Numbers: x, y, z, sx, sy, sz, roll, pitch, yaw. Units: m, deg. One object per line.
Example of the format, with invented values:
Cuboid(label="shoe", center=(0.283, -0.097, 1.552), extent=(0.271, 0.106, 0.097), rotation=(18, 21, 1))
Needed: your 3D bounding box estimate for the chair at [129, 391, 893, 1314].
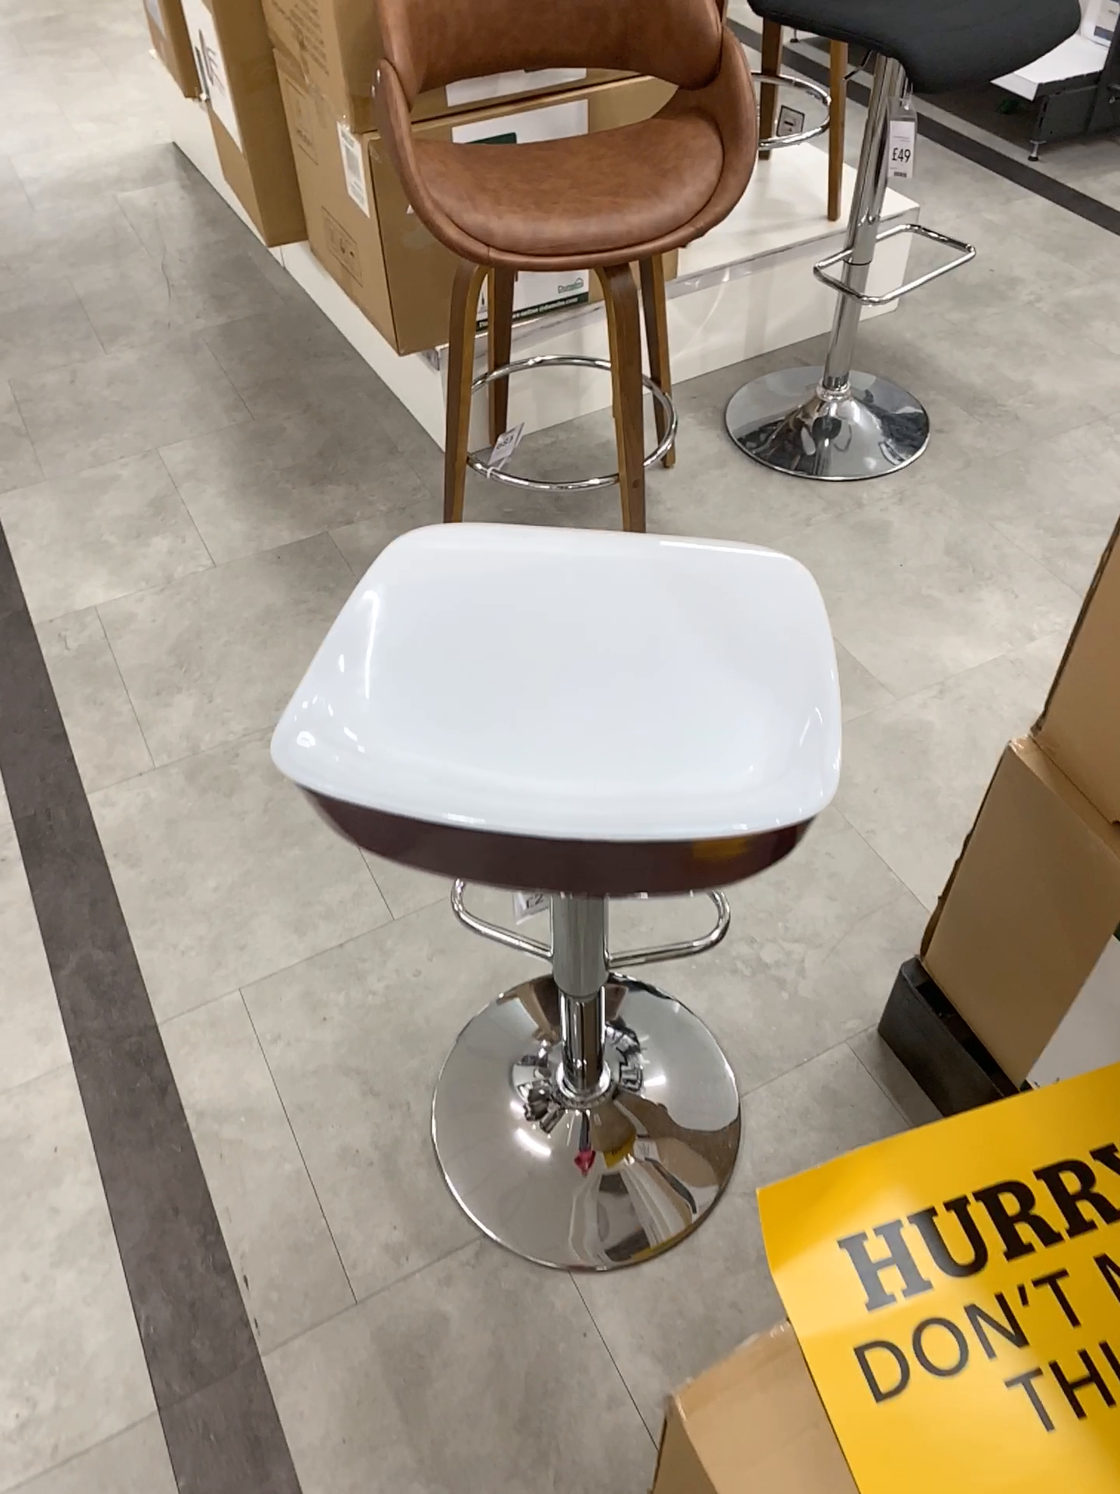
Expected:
Cuboid(label="chair", center=(0.006, 0.148, 1.079), extent=(0.435, 0.793, 0.438), rotation=(5, 48, 7))
